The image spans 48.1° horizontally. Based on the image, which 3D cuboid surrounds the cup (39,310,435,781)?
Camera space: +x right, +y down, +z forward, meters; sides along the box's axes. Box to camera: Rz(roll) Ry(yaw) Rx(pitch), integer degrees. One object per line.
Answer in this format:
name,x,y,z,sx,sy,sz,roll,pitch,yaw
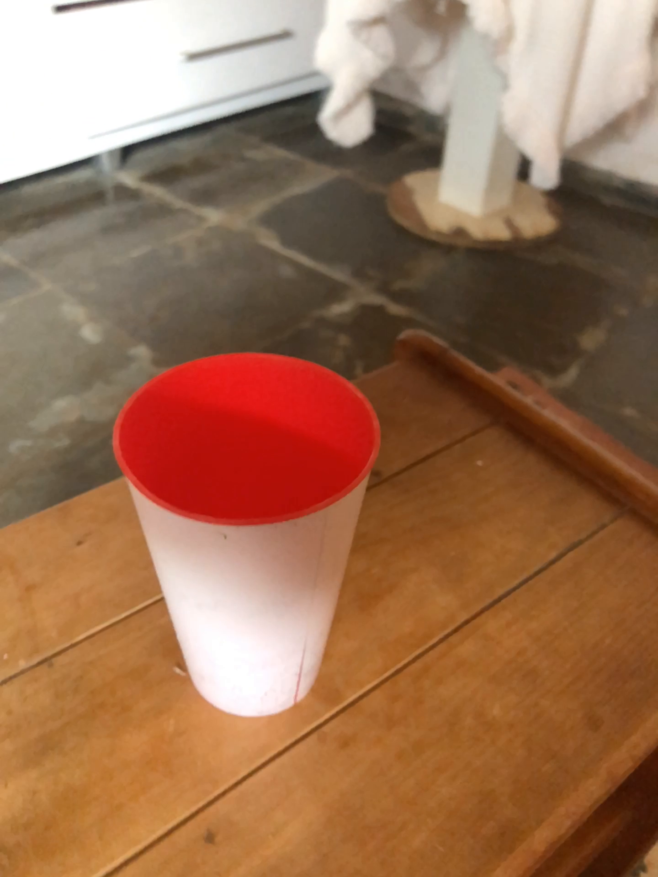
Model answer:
cup,-0.035,0.037,0.285,0.090,0.119,0.100,-28,50,-31
